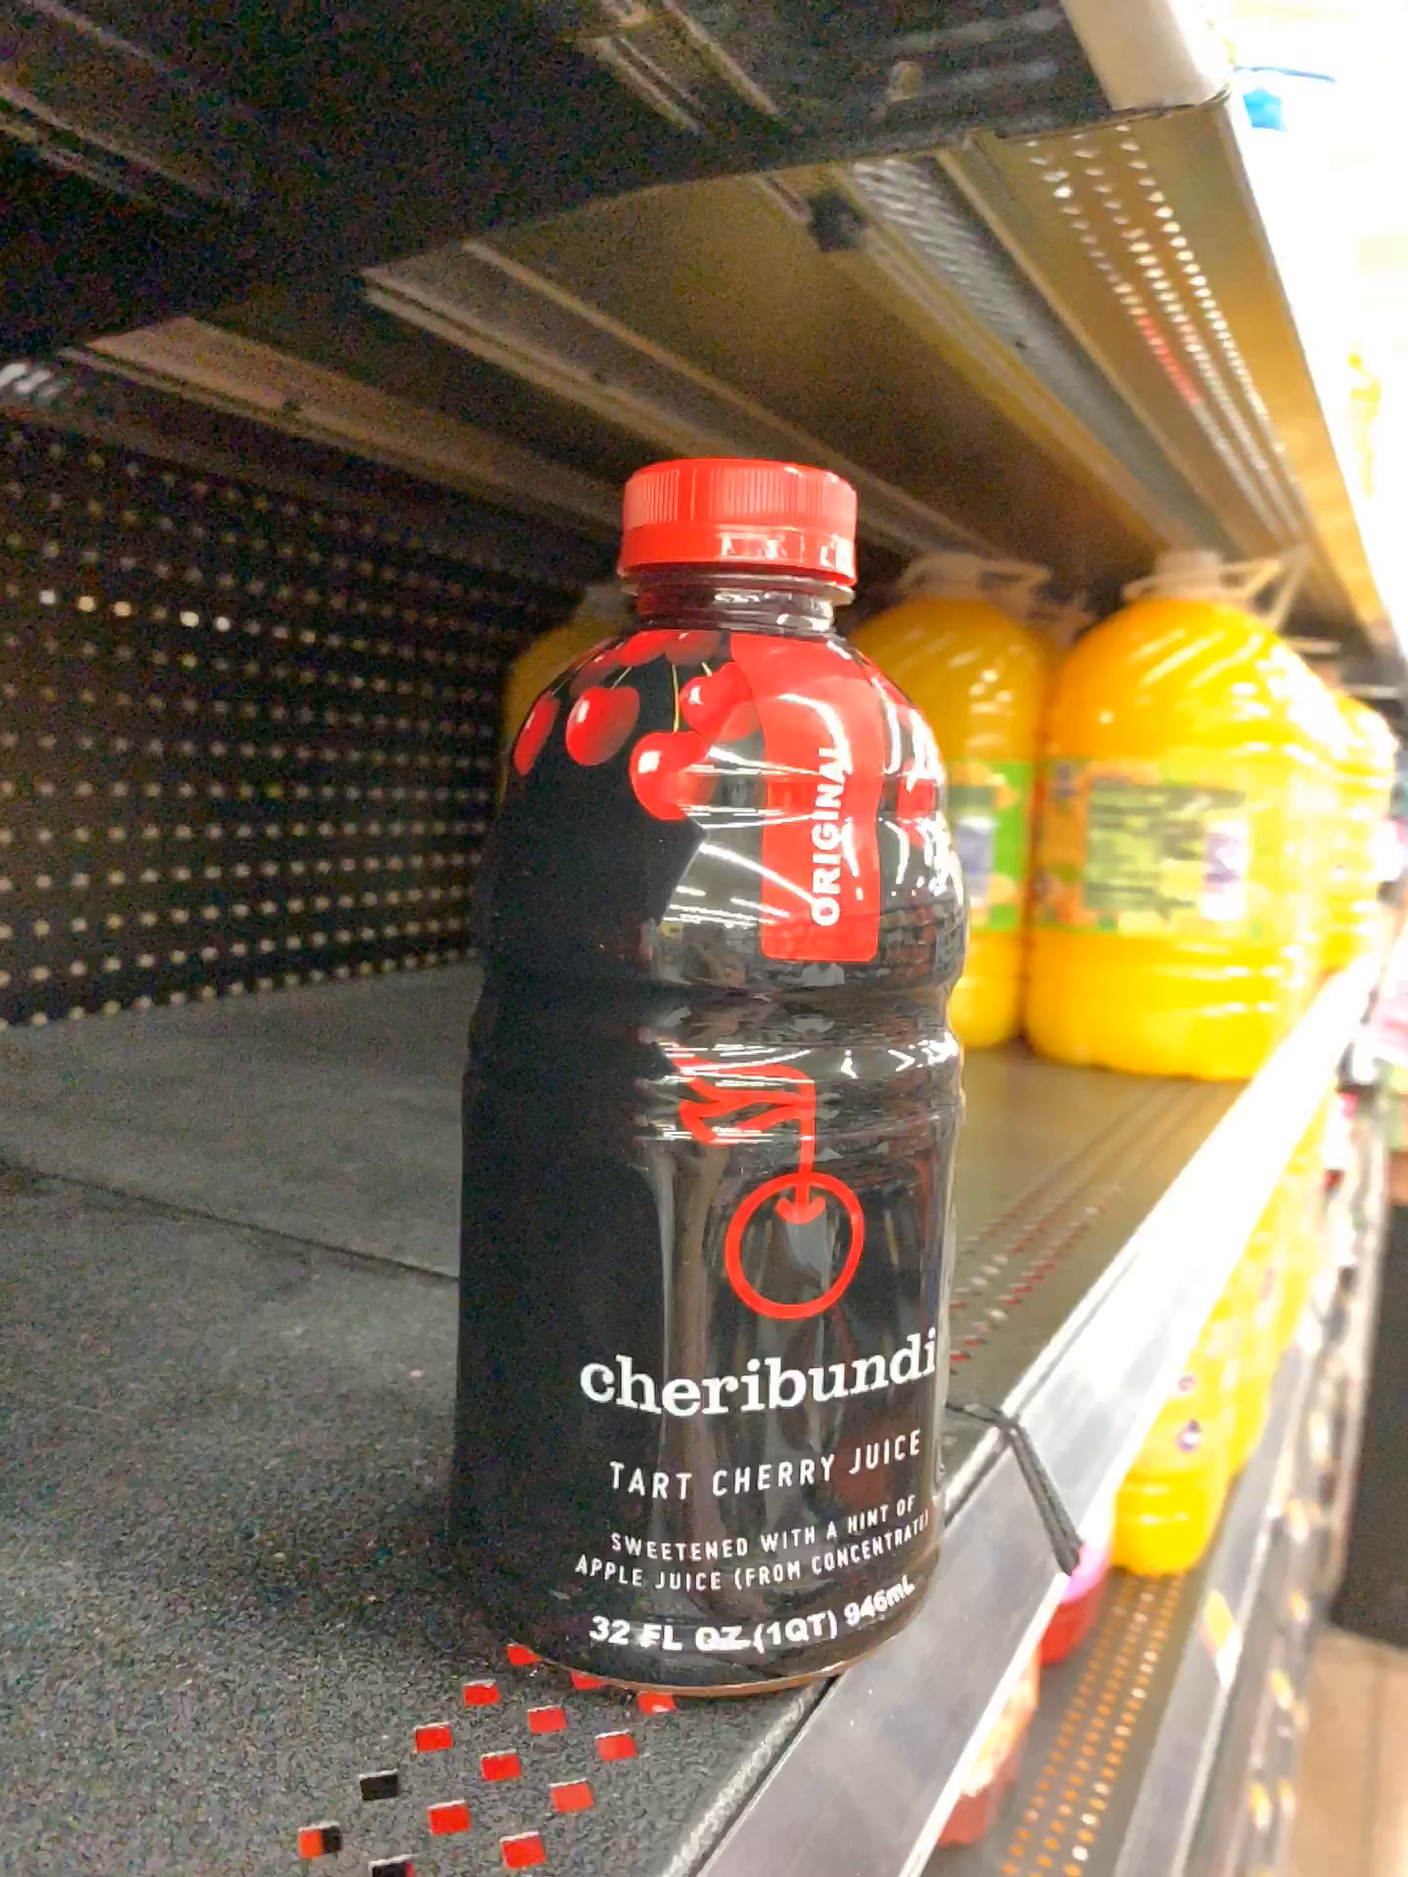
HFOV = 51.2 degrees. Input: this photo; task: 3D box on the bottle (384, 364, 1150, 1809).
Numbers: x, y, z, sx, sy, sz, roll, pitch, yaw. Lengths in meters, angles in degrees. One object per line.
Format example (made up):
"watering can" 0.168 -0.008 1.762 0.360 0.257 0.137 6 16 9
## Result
"bottle" 0.001 0.021 0.262 0.095 0.205 0.090 4 7 0
